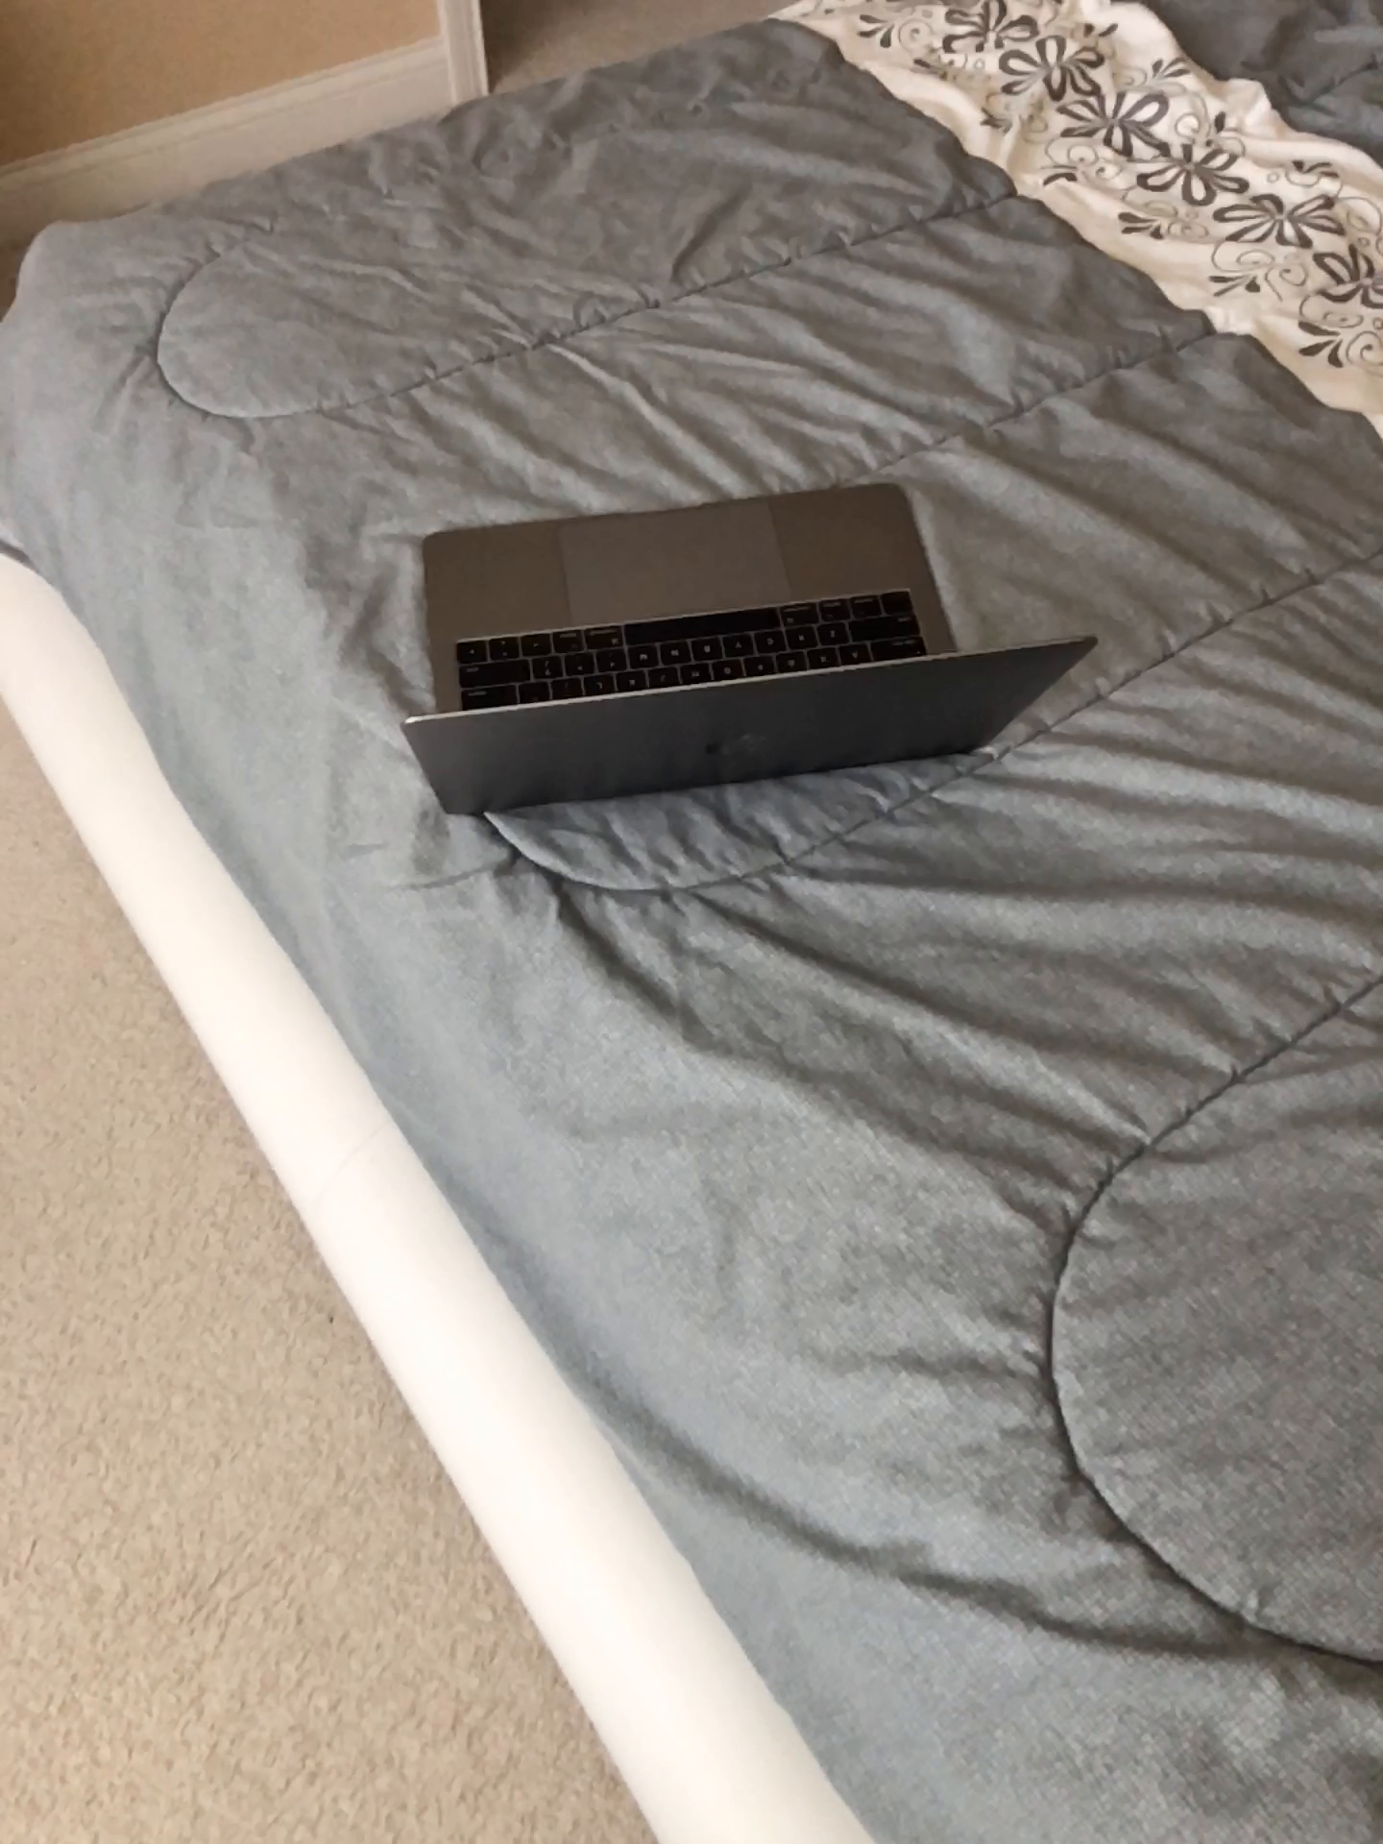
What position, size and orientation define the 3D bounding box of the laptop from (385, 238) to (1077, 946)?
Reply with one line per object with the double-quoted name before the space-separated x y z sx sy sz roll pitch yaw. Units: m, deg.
"laptop" 0.004 -0.172 0.766 0.279 0.159 0.282 -7 56 -4
